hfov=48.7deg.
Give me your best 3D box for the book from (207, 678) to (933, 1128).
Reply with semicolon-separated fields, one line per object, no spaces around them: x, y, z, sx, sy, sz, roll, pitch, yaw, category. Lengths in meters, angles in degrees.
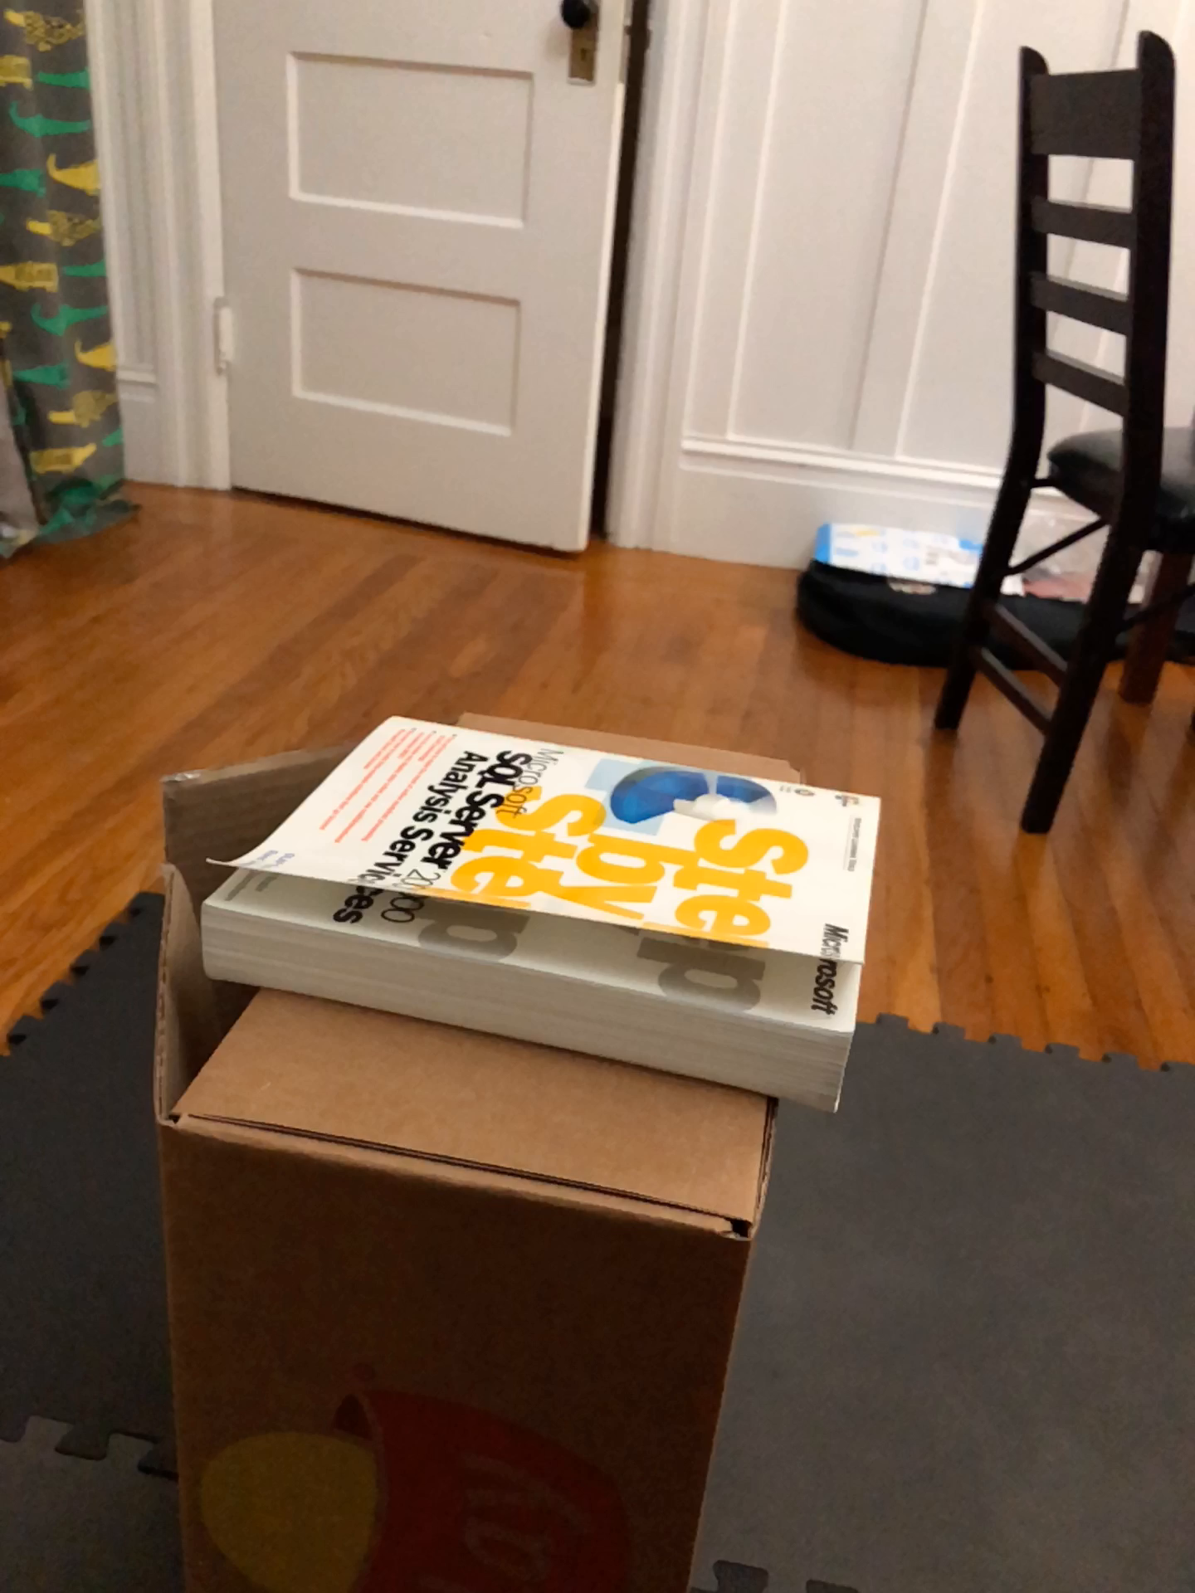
0.002;0.027;0.529;0.240;0.050;0.201;7;29;7;book
